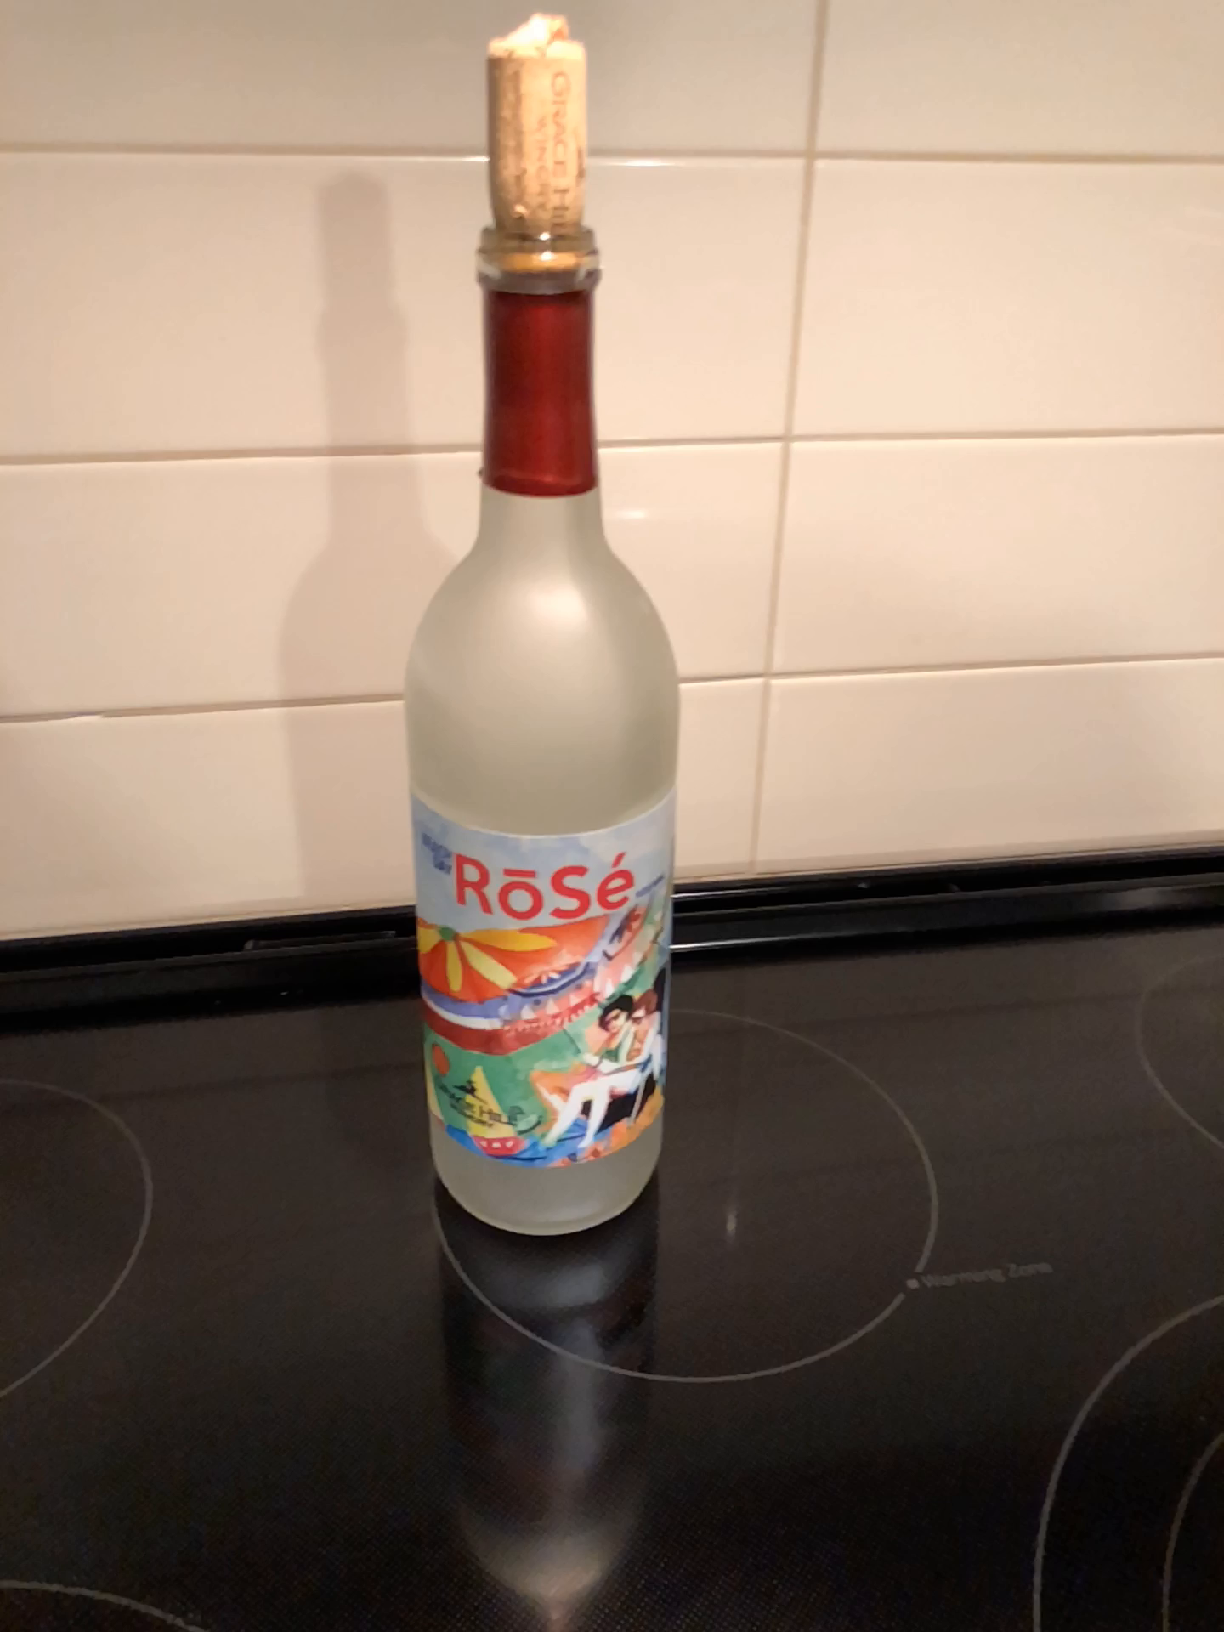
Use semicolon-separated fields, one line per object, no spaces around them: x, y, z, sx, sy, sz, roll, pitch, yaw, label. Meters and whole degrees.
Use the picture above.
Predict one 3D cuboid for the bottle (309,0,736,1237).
-0.020;-0.034;0.365;0.080;0.318;0.080;1;28;0;bottle
